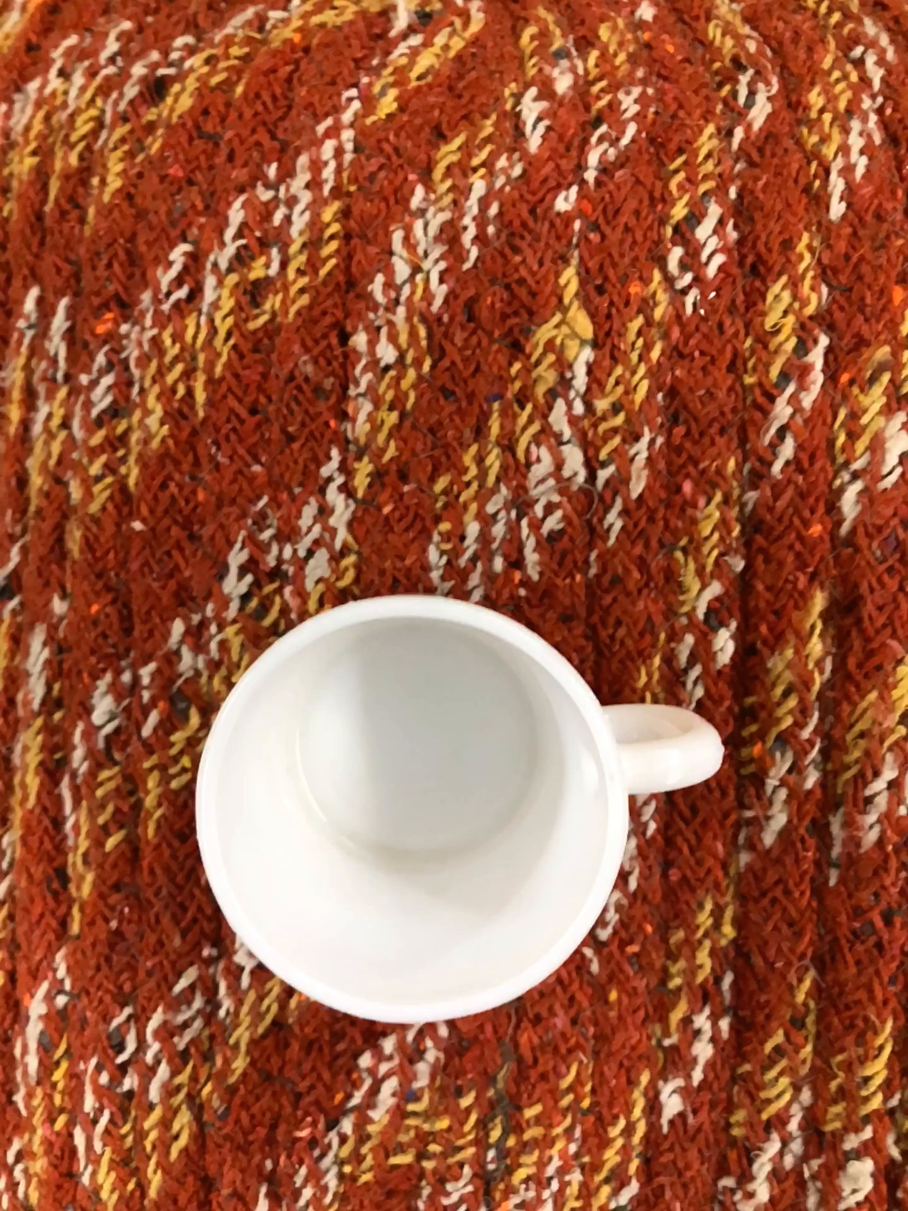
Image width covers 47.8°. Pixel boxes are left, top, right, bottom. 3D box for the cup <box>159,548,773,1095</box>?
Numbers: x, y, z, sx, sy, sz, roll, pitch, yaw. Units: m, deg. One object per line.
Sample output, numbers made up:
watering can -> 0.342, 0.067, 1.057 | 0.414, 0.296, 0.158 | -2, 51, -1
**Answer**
cup -> 0.002, 0.030, 0.173 | 0.080, 0.060, 0.070 | -5, 91, 0
